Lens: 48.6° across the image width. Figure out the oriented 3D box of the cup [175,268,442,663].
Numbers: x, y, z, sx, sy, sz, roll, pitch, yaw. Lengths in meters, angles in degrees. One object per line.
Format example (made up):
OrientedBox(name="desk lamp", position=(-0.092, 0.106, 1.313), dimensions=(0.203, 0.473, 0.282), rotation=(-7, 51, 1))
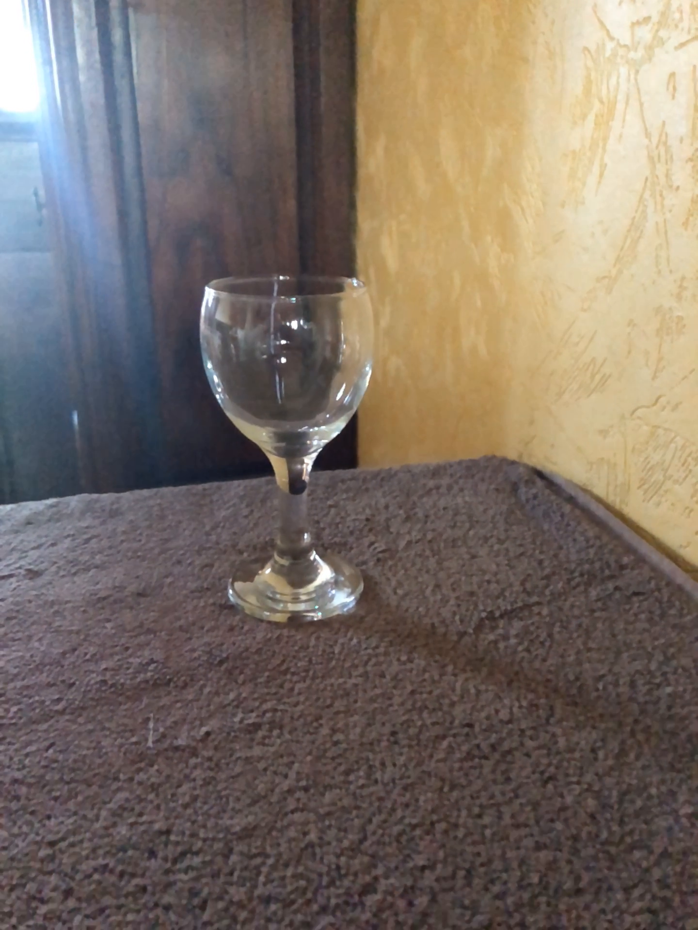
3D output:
OrientedBox(name="cup", position=(-0.016, -0.006, 0.304), dimensions=(0.070, 0.129, 0.070), rotation=(0, 19, 0))
